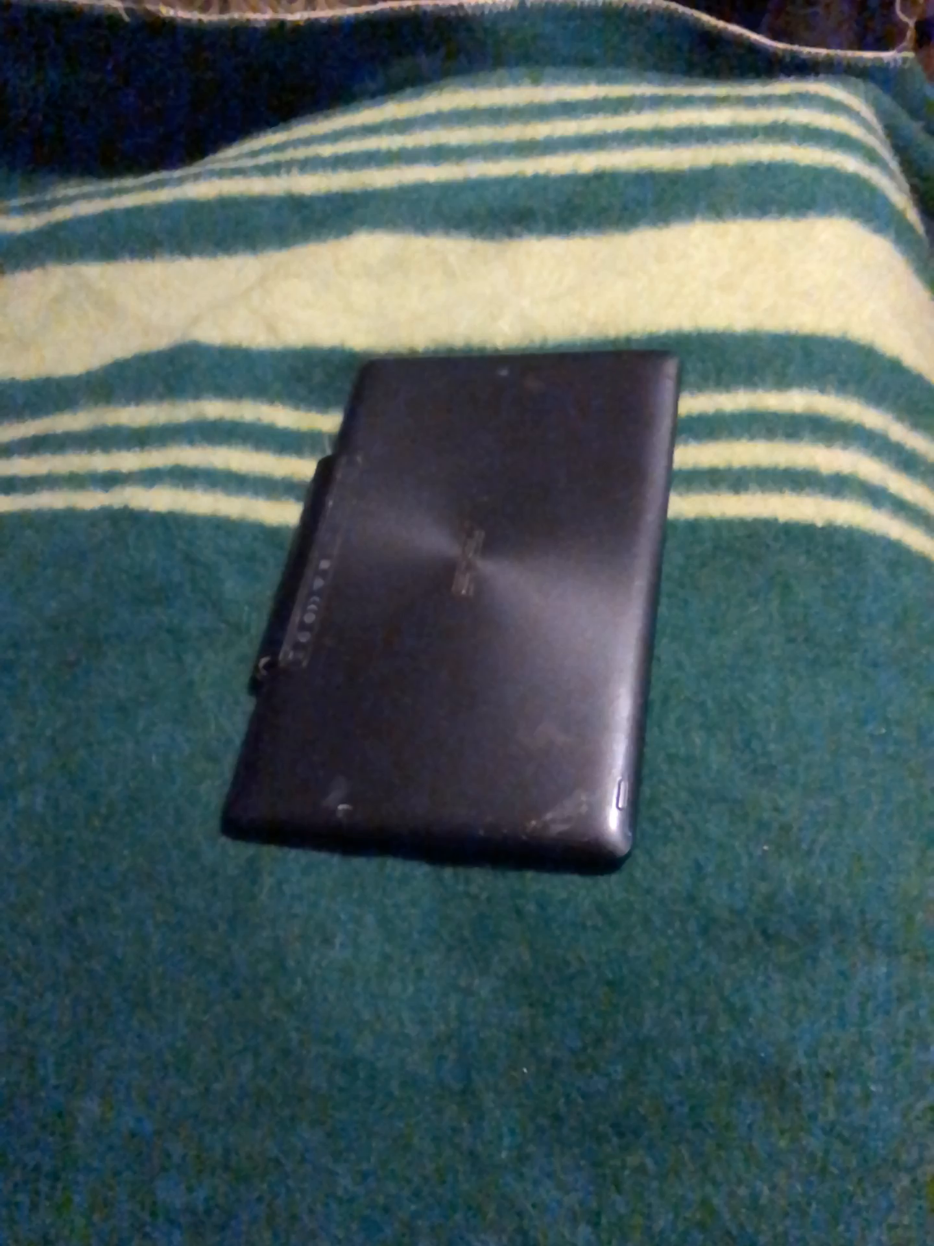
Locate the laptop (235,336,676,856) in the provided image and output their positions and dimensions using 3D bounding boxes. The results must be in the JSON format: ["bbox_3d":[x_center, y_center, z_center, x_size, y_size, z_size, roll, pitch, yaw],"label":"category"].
[{"bbox_3d":[0.005,-0.031,0.480,0.167,0.017,0.263,2,60,15],"label":"laptop"}]
